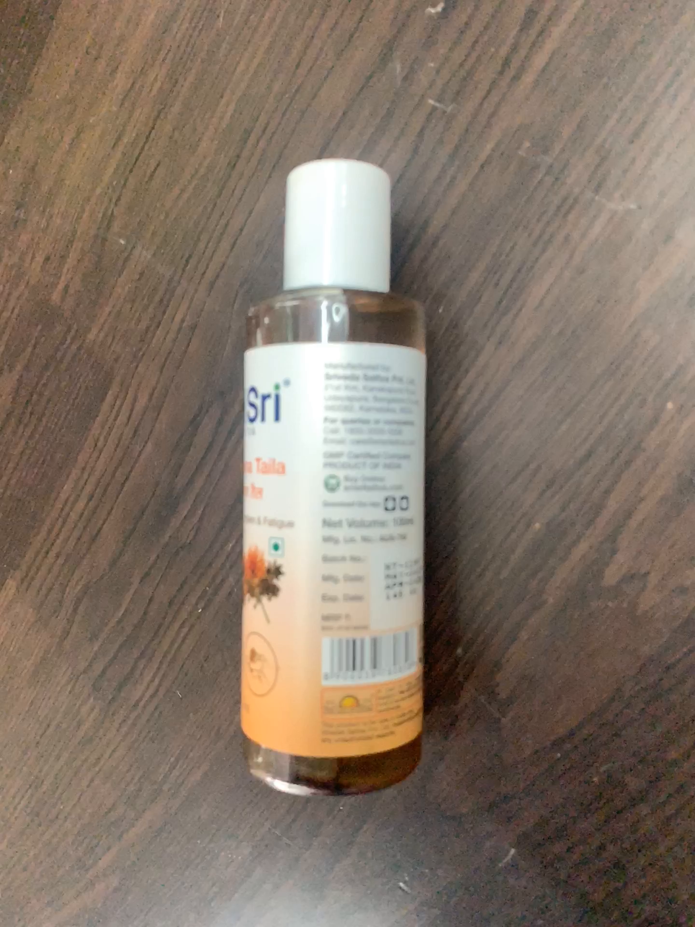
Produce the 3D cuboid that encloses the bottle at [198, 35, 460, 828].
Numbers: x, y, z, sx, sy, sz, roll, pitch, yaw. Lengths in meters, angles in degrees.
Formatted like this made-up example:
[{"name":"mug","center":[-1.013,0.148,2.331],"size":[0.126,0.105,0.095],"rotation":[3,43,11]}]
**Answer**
[{"name":"bottle","center":[-0.005,-0.006,0.155],"size":[0.040,0.040,0.140],"rotation":[-1,90,53]}]
